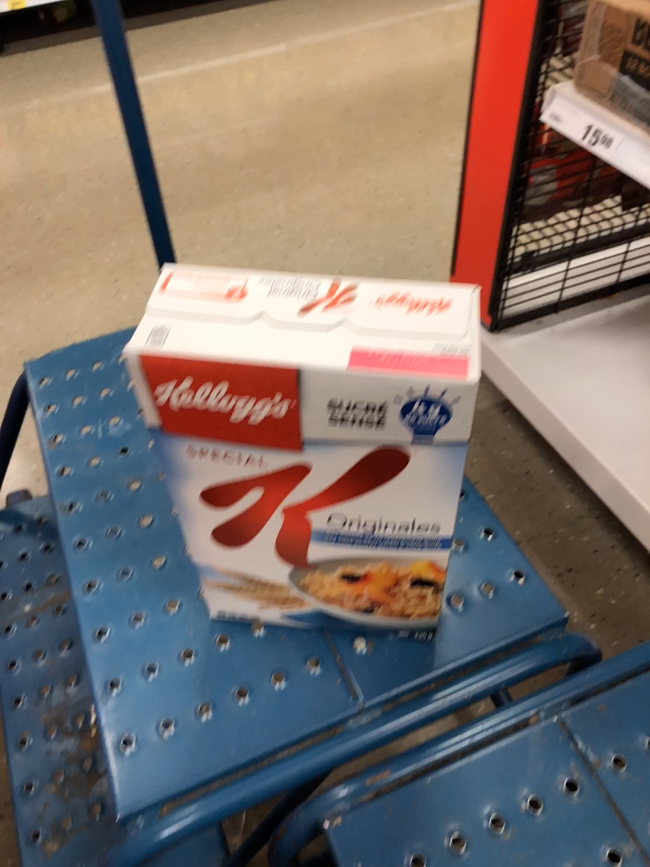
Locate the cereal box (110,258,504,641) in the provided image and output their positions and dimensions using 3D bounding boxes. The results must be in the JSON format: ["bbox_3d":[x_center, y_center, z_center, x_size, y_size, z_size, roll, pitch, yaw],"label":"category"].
[{"bbox_3d":[-0.001,0.030,0.514,0.210,0.299,0.080,4,48,8],"label":"cereal box"}]
